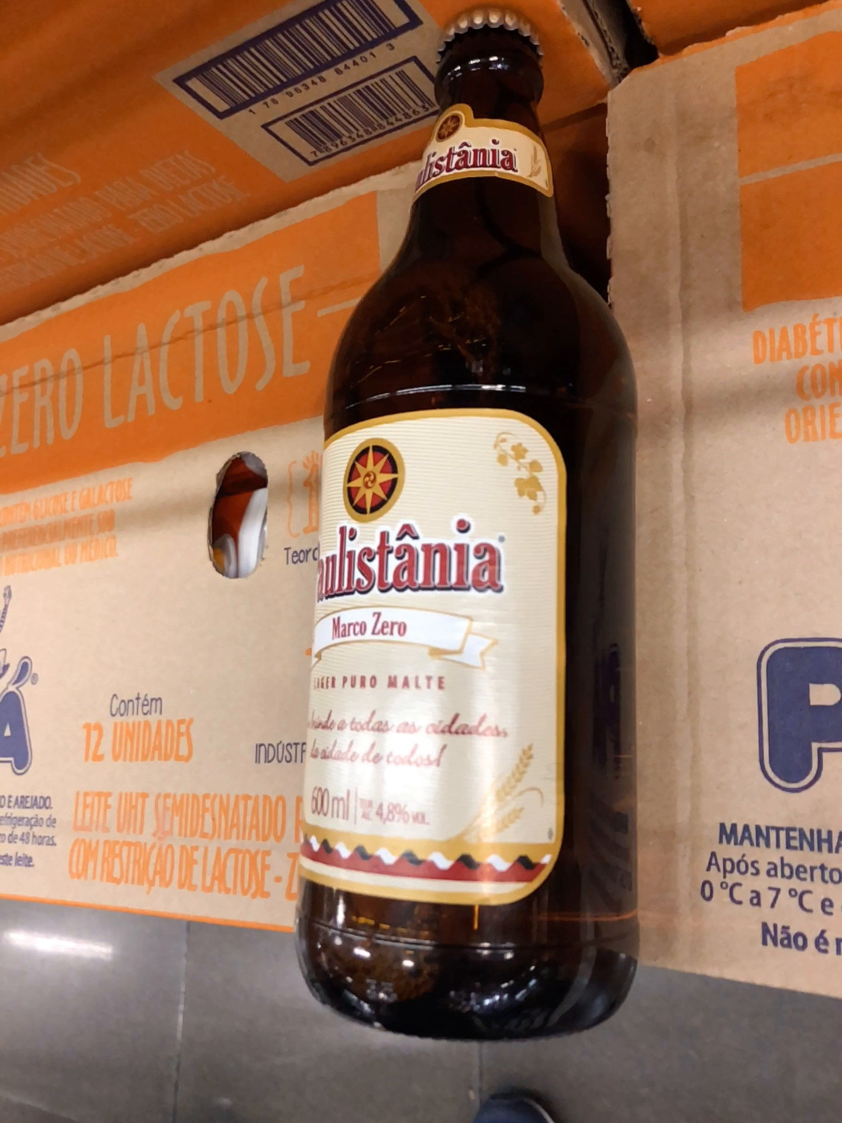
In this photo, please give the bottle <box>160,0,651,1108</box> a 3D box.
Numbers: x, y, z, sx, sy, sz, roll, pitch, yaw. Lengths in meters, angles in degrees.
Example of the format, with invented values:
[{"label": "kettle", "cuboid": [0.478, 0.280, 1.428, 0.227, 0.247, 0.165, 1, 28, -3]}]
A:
[{"label": "bottle", "cuboid": [0.002, -0.034, 0.205, 0.080, 0.050, 0.250, -5, 76, 33]}]
